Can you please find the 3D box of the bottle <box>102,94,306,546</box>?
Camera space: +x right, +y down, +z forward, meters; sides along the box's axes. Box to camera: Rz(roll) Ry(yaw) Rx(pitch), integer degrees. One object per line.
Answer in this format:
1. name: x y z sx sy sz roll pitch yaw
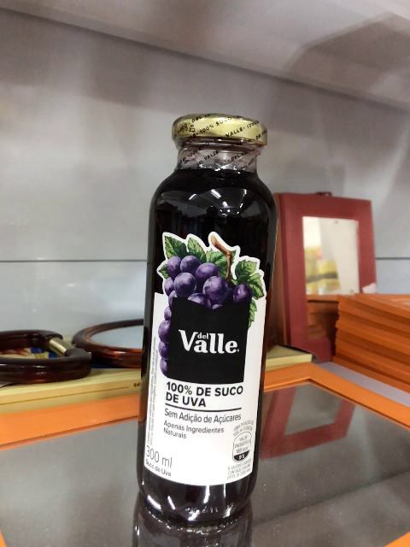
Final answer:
1. bottle: -0.005 0.023 0.219 0.070 0.189 0.060 4 7 -5
